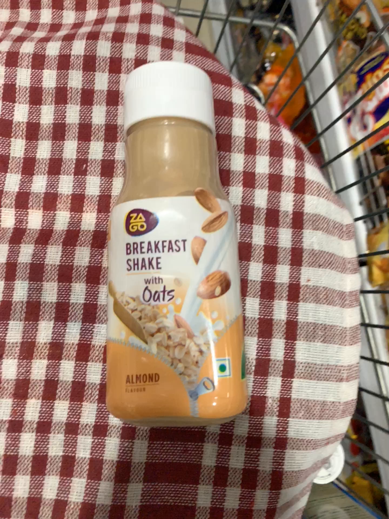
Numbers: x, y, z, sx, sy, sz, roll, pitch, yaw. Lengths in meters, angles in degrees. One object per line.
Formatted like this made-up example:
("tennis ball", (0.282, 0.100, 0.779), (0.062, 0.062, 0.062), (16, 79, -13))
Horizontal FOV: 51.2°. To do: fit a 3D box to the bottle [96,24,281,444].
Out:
("bottle", (-0.004, -0.009, 0.163), (0.060, 0.050, 0.140), (-1, 88, -5))
